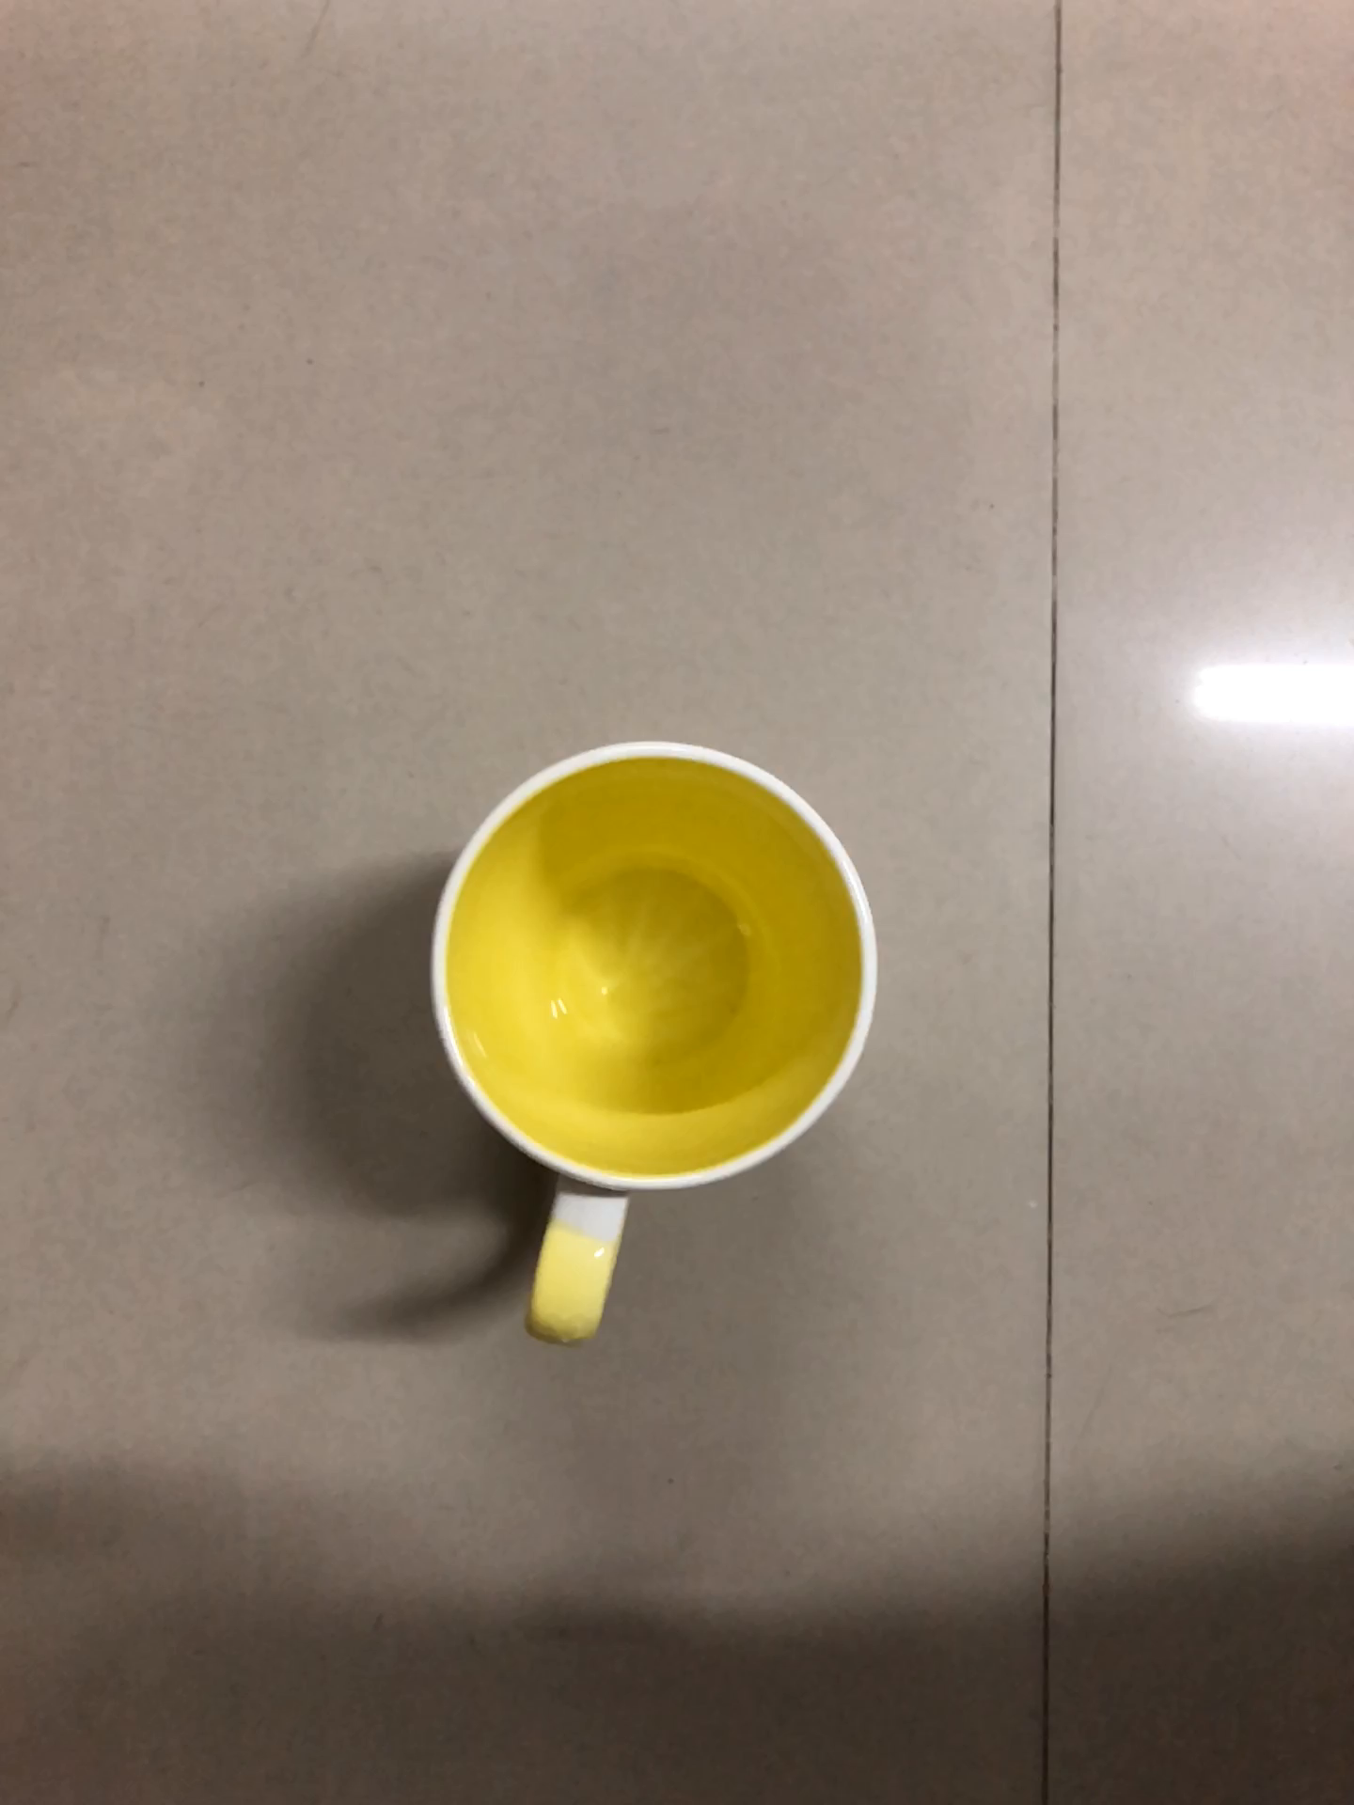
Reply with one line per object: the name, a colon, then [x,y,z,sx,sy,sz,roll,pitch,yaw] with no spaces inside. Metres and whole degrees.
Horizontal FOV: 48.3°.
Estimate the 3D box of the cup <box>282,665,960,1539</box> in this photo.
cup: [-0.008,0.032,0.275,0.080,0.080,0.120,13,87,1]
